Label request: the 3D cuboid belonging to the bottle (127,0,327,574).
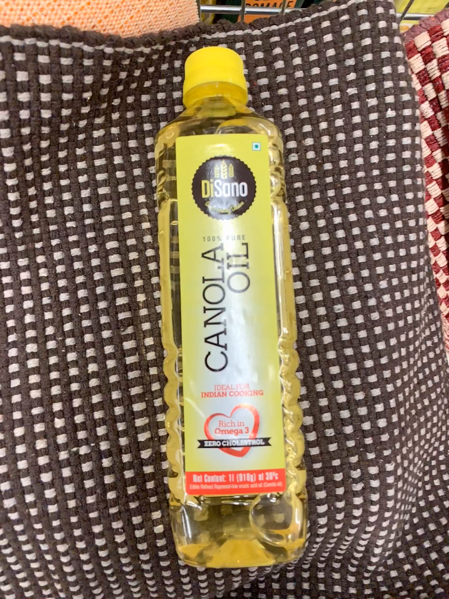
[{"bbox_3d":[-0.001,-0.021,0.213,0.070,0.060,0.250,-2,84,1],"label":"bottle"}]
